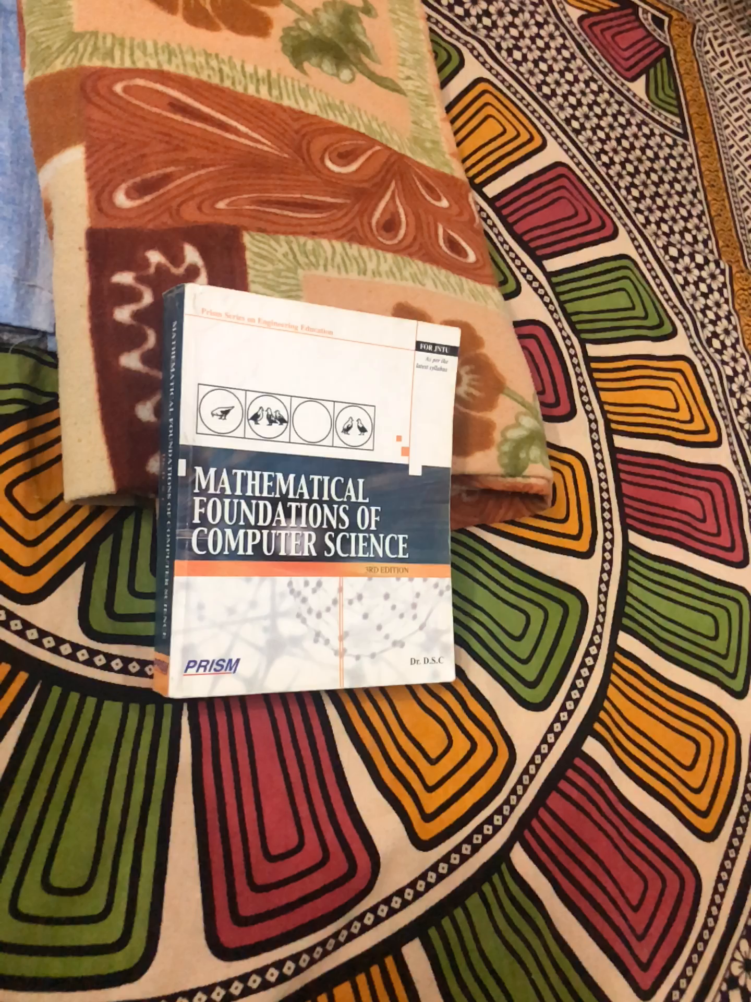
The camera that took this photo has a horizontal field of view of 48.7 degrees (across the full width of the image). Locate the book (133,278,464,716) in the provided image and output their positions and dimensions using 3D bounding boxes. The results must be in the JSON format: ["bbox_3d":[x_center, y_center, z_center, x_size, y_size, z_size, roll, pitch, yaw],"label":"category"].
[{"bbox_3d":[-0.041,0.001,0.503,0.191,0.050,0.230,3,87,-29],"label":"book"}]
